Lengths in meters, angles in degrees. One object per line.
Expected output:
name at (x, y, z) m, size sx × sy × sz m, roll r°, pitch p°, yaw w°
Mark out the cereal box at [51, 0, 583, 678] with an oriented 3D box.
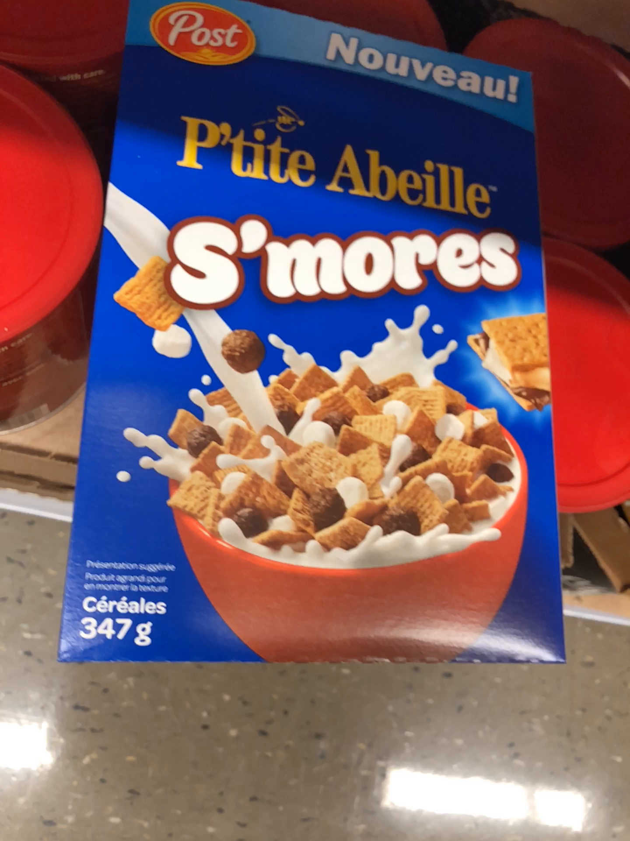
cereal box at (0.007, -0.041, 0.321) m, size 0.200 × 0.060 × 0.290 m, roll 6°, pitch 75°, yaw -14°
